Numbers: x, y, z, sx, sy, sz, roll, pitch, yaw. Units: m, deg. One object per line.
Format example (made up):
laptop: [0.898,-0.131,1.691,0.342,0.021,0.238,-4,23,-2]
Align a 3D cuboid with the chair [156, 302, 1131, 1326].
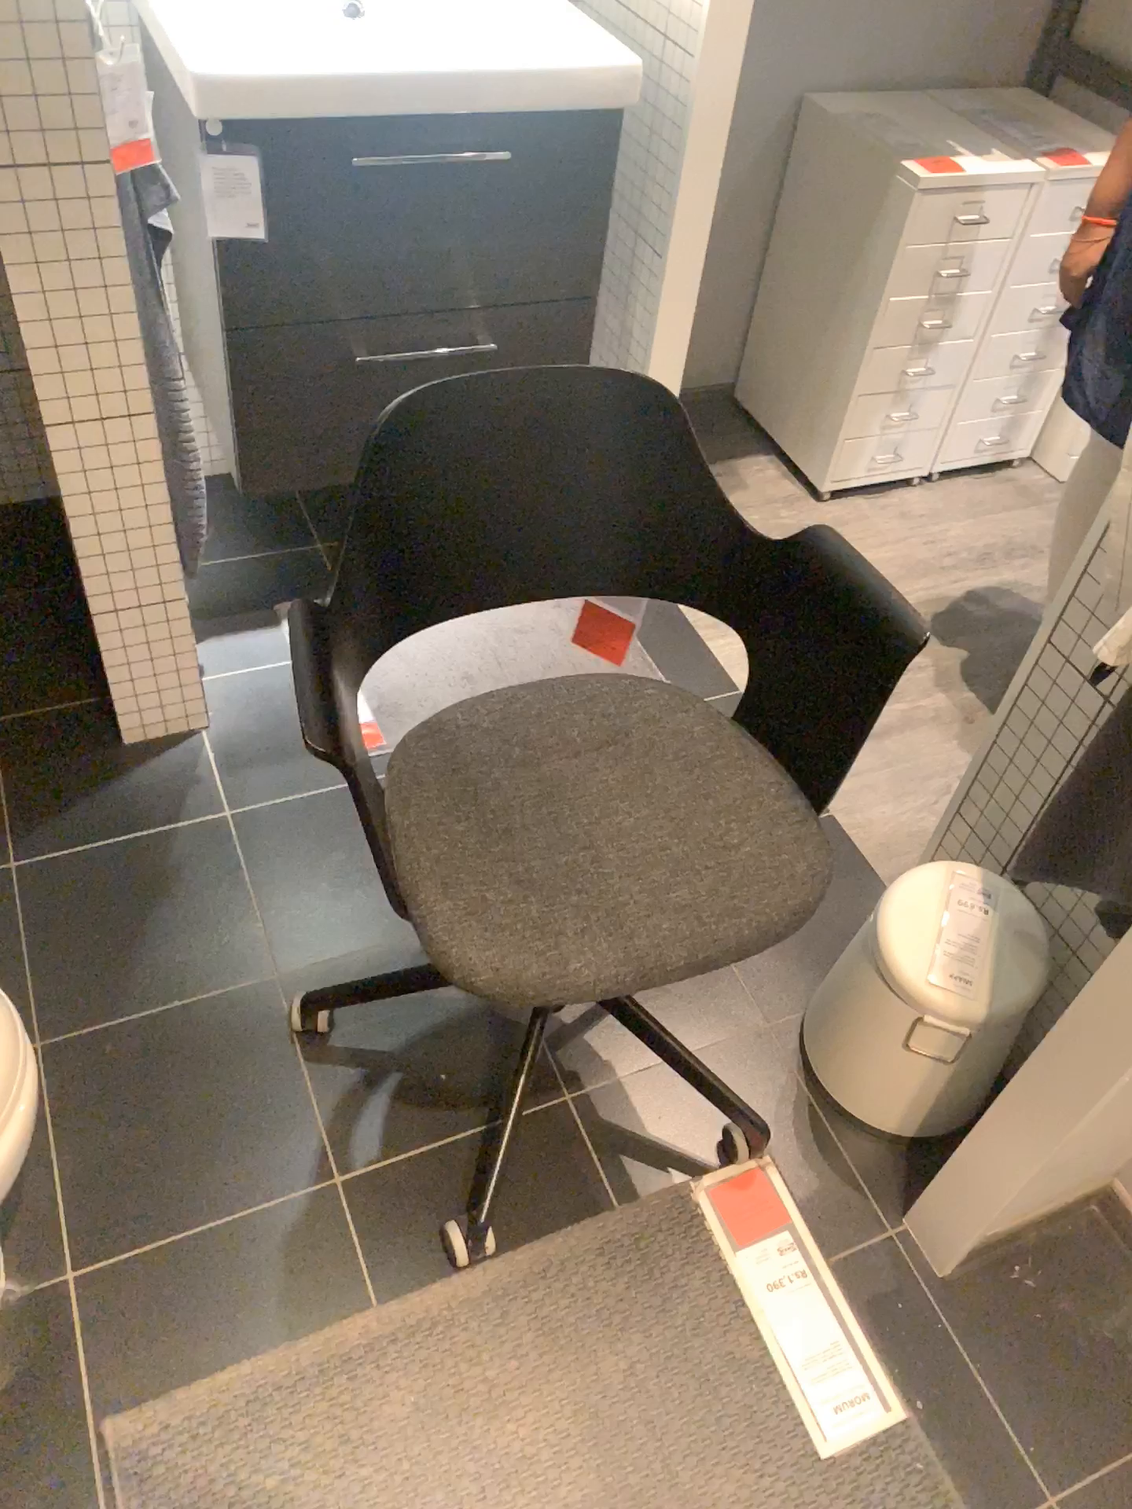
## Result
chair: [0.012,0.051,1.199,0.640,0.737,0.602,-13,50,-20]
